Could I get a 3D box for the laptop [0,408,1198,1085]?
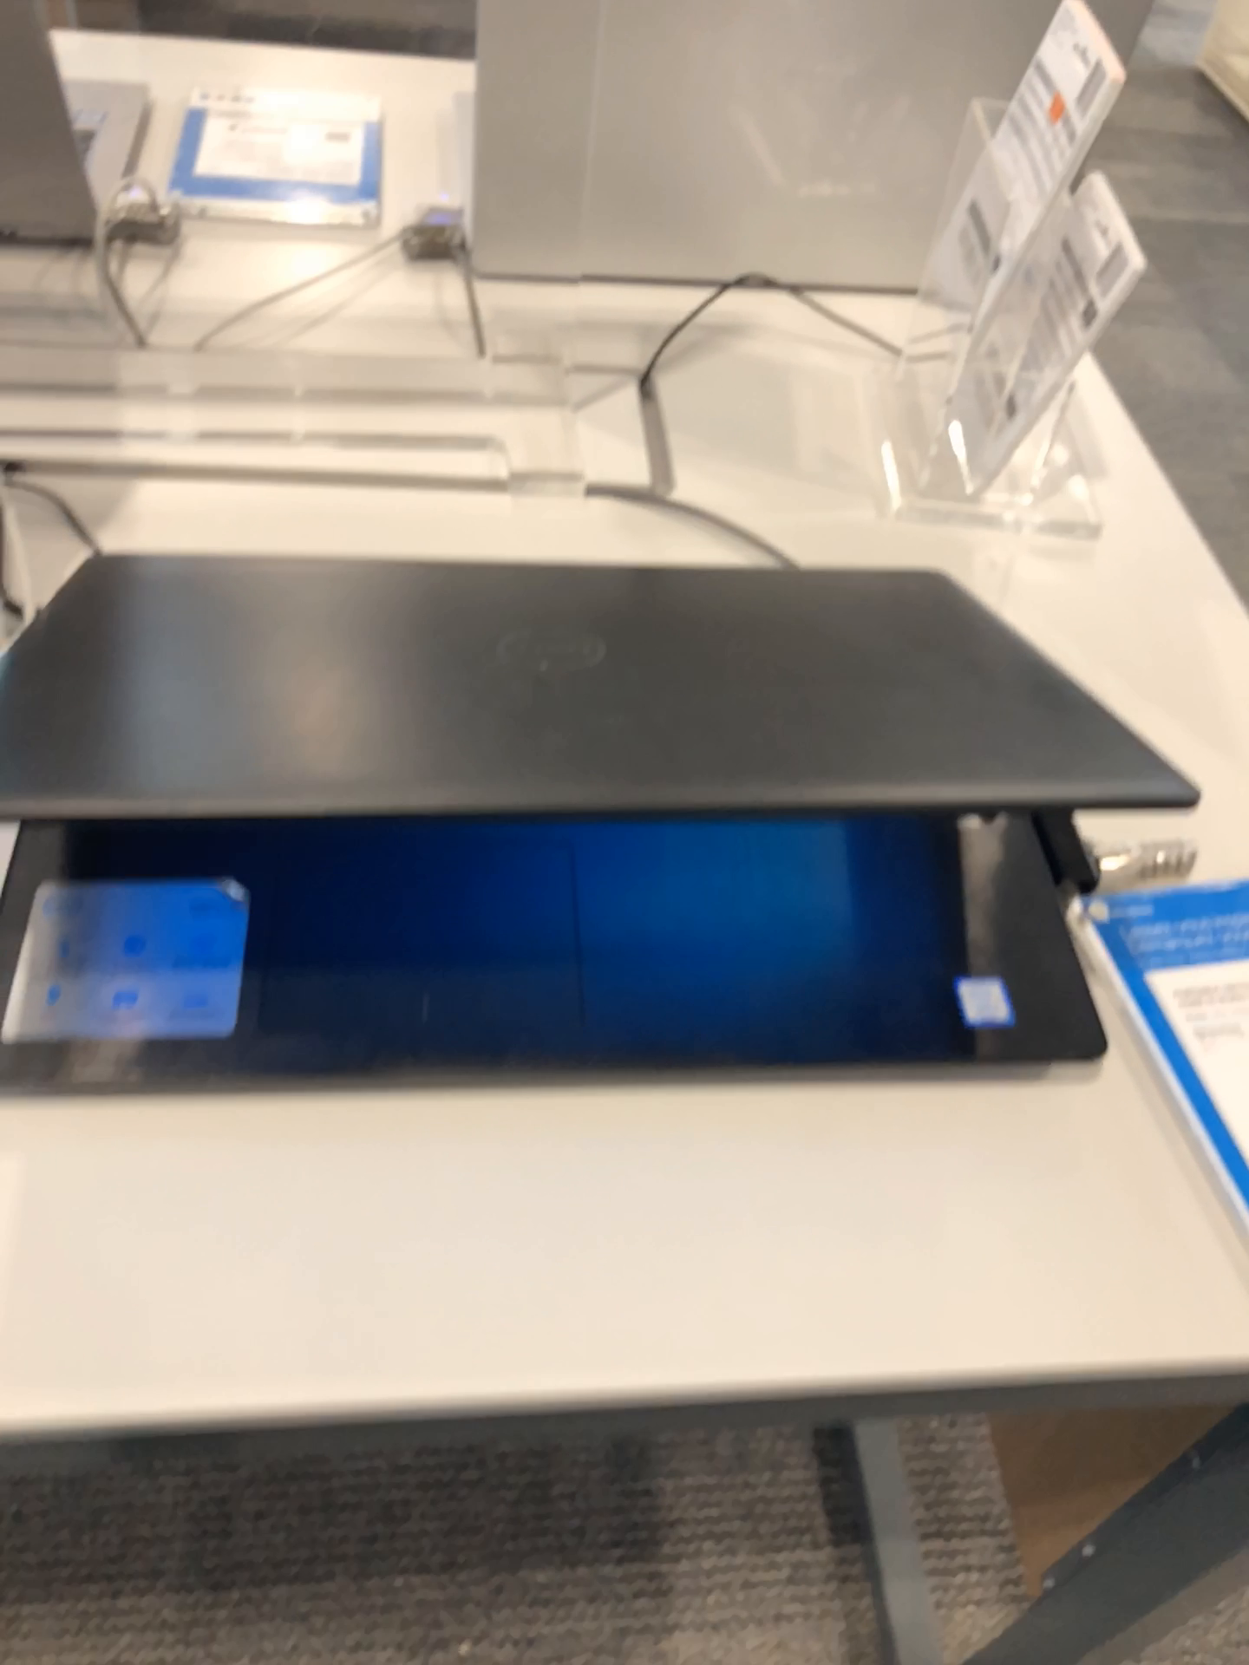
[{"bbox_3d":[-0.020,-0.040,0.498,0.365,0.080,0.246,1,48,-8],"label":"laptop"}]
